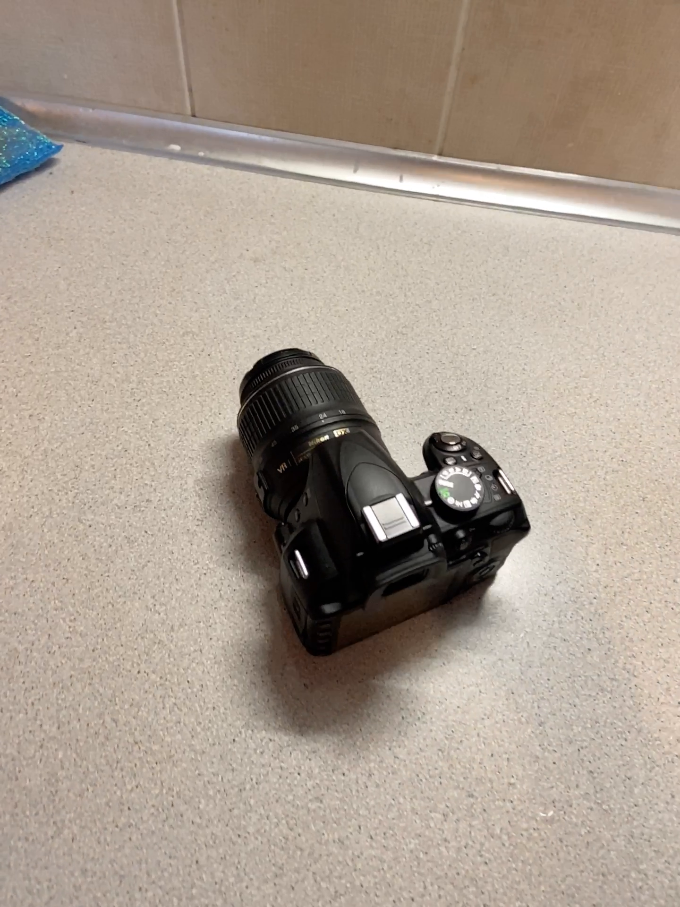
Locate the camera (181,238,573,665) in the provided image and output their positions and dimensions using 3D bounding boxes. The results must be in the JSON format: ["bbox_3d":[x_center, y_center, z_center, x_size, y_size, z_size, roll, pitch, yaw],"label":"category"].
[{"bbox_3d":[0.008,-0.007,0.370,0.122,0.091,0.178,-19,60,-15],"label":"camera"}]
